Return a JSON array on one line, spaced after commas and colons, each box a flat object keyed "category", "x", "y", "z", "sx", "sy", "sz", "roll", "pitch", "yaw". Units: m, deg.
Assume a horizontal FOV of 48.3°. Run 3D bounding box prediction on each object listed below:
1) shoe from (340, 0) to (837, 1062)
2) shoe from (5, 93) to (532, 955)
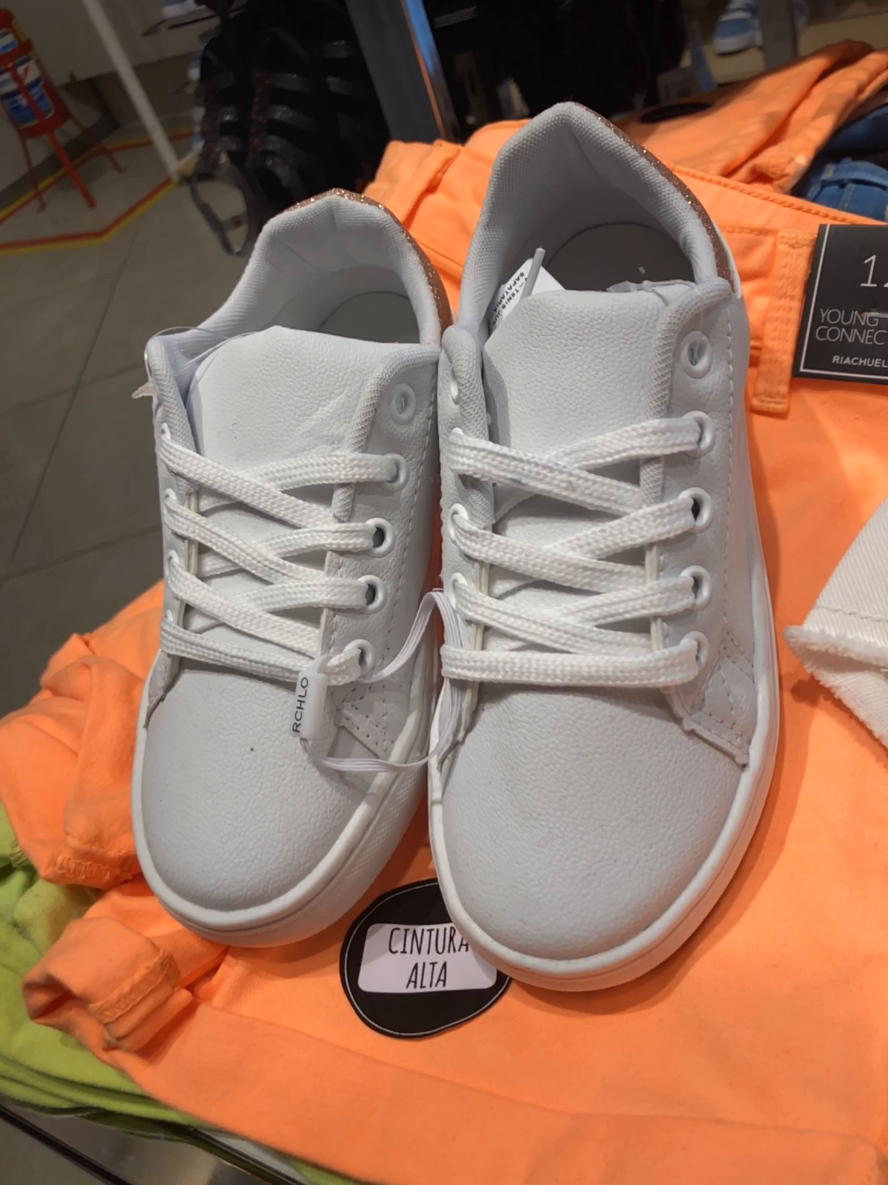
[{"category": "shoe", "x": 0.040, "y": -0.017, "z": 0.226, "sx": 0.080, "sy": 0.070, "sz": 0.211, "roll": -3, "pitch": 69, "yaw": 23}, {"category": "shoe", "x": -0.031, "y": -0.022, "z": 0.263, "sx": 0.080, "sy": 0.070, "sz": 0.211, "roll": 5, "pitch": 72, "yaw": 11}]
